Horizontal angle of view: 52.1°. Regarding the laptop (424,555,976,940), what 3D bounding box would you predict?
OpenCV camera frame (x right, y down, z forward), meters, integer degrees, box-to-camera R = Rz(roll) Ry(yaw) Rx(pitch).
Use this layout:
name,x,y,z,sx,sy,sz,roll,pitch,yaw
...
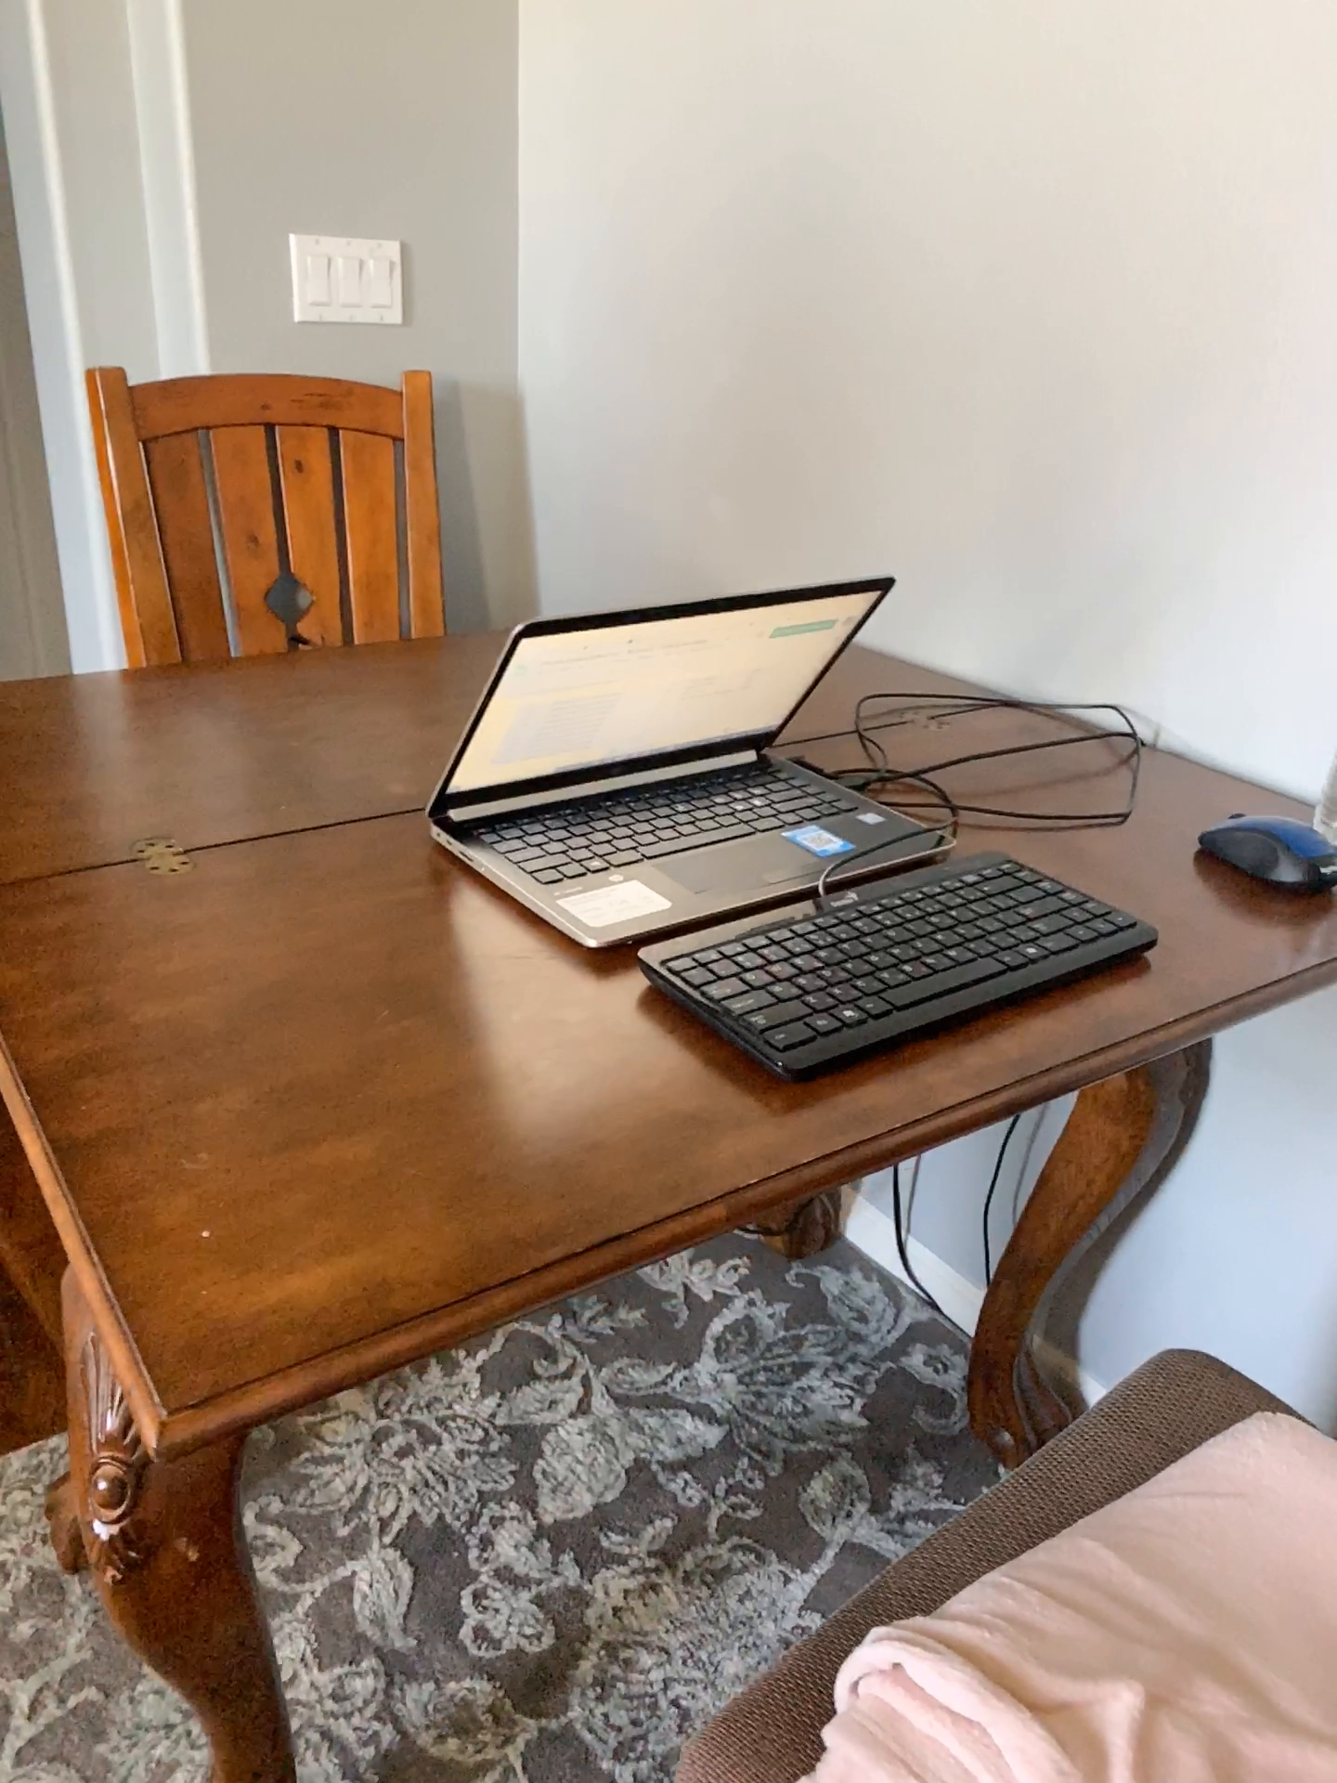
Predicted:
name,x,y,z,sx,sy,sz,roll,pitch,yaw
laptop,0.019,-0.114,0.921,0.303,0.157,0.199,-13,30,-33
